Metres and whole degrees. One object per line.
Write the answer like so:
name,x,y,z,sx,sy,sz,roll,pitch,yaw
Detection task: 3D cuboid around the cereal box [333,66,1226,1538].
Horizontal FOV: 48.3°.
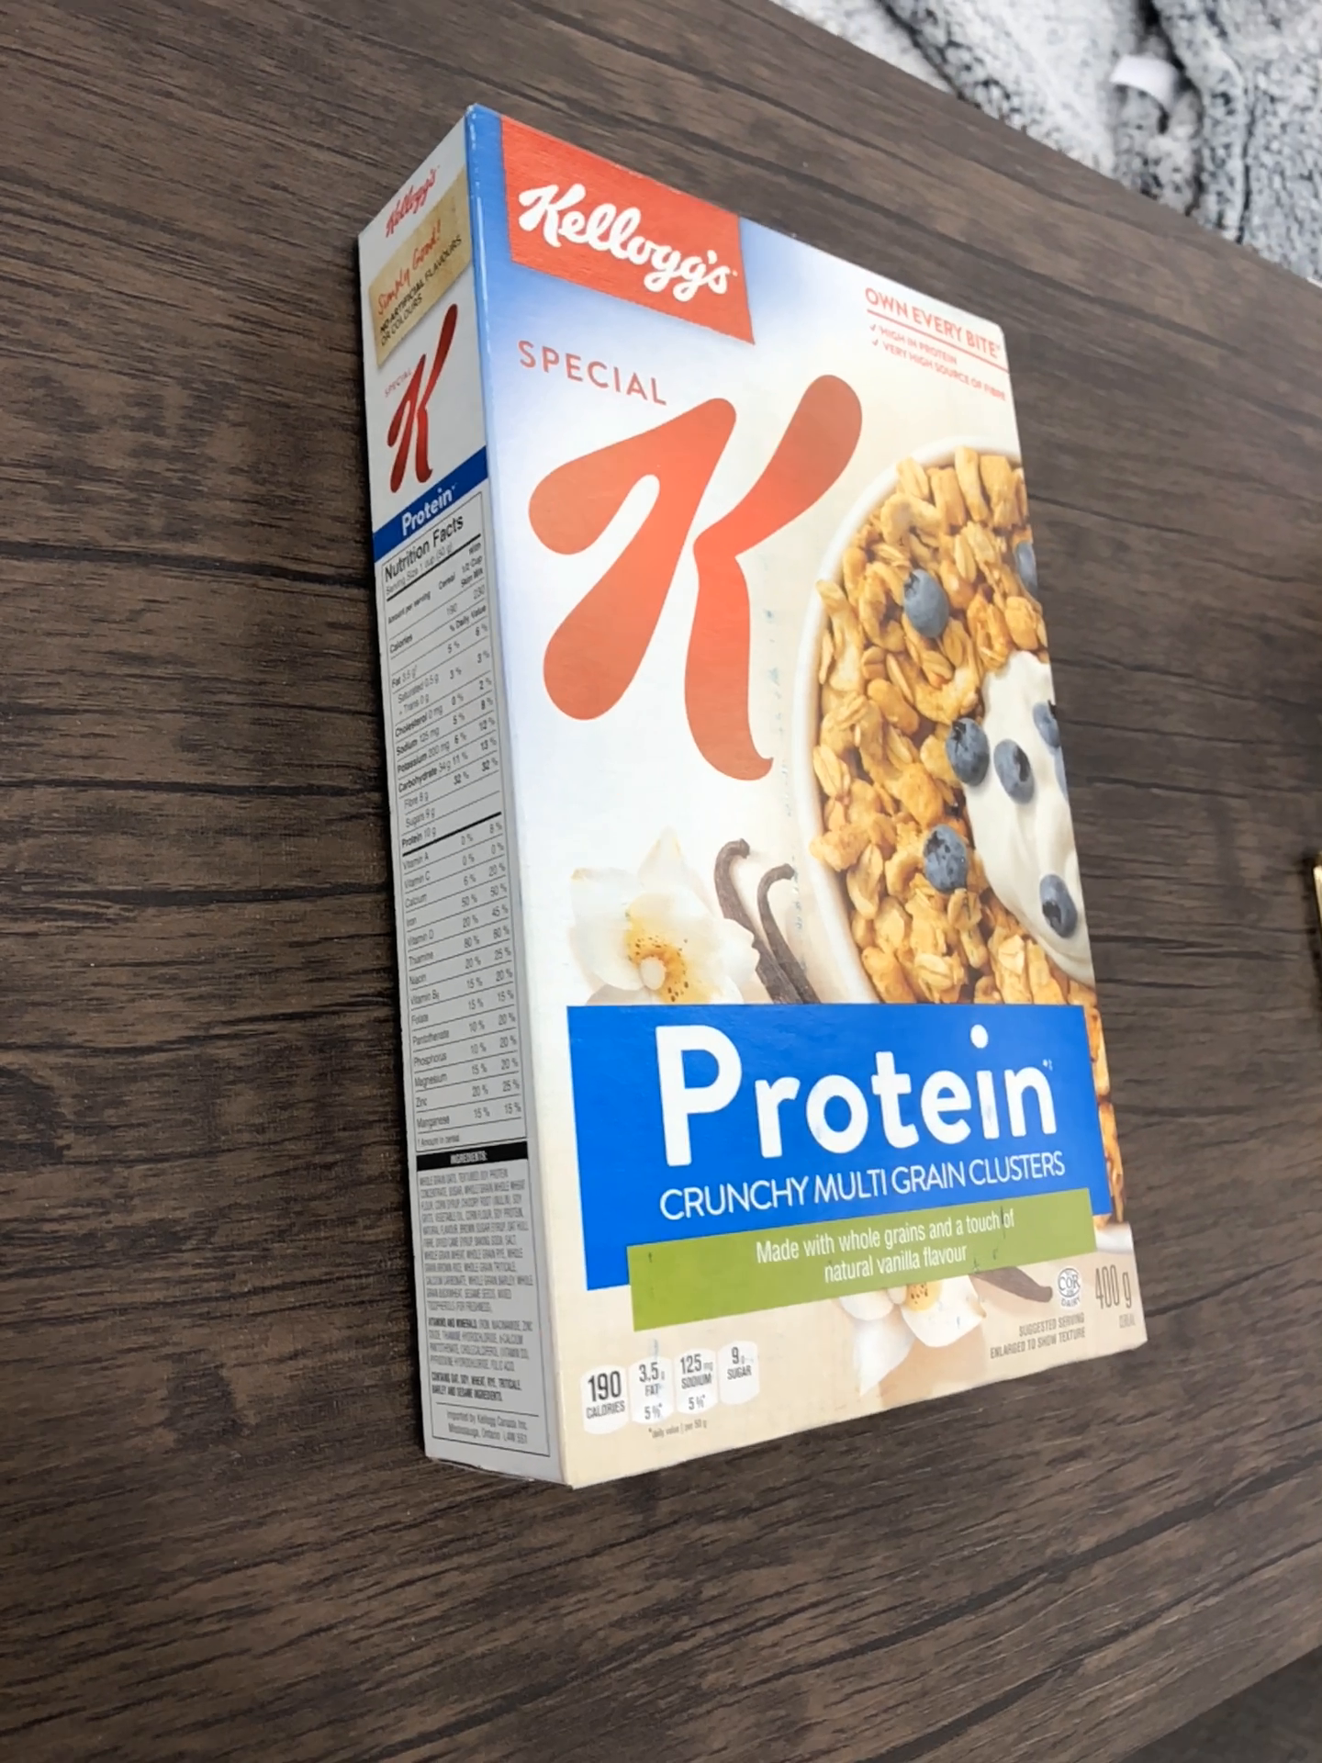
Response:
cereal box,0.029,-0.017,0.325,0.181,0.050,0.260,3,76,-37
